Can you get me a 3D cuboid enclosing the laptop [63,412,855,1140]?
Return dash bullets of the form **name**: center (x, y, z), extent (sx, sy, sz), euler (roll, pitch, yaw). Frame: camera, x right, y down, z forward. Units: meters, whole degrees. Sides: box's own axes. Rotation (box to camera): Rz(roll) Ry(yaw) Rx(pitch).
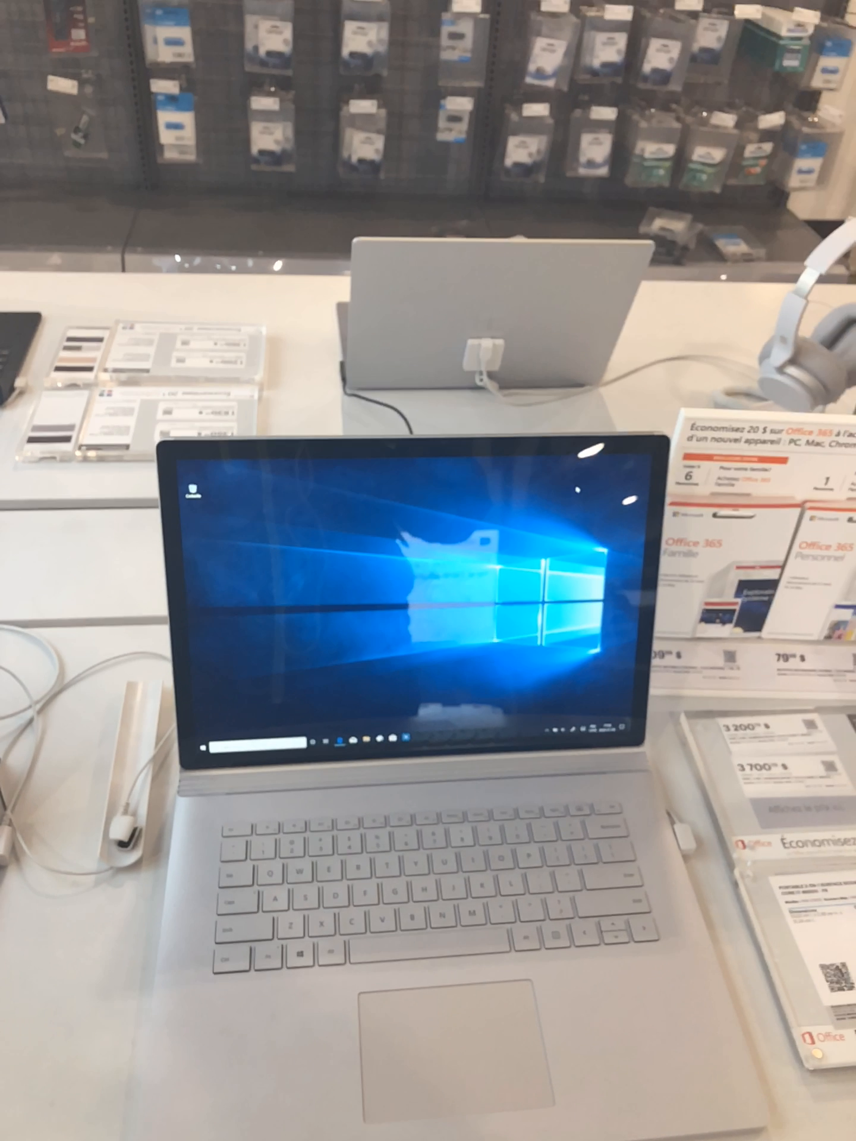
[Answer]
- **laptop**: center (0.005, 0.102, 0.569), extent (0.338, 0.207, 0.366), euler (-1, 43, -7)
